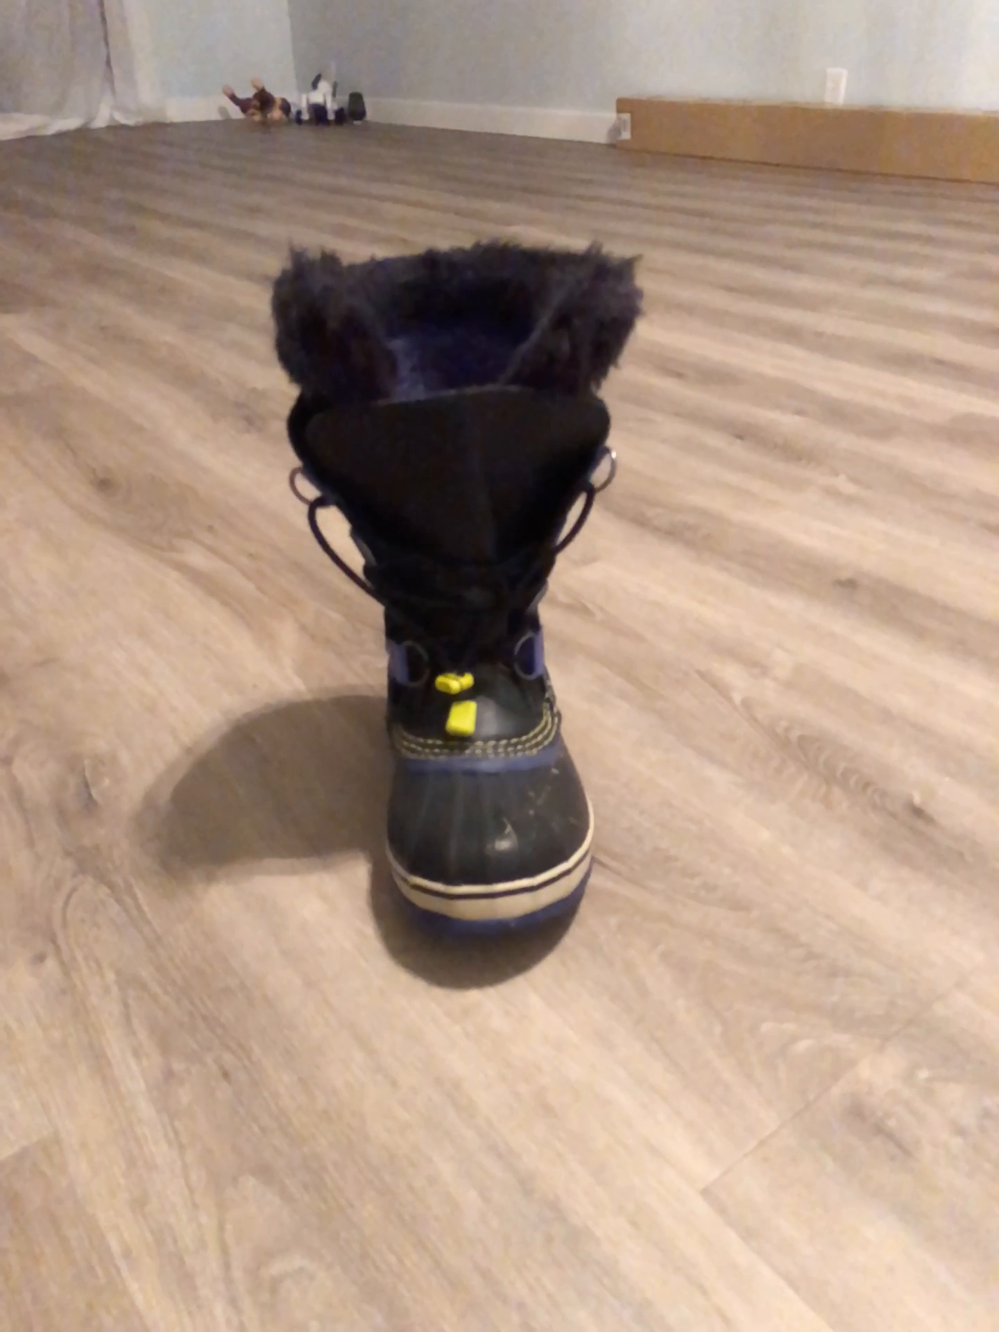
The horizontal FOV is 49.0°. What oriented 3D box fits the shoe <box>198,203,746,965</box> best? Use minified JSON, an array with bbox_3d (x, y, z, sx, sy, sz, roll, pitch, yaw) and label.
[{"bbox_3d":[-0.011,-0.053,0.510,0.170,0.269,0.241,-3,30,-2],"label":"shoe"}]
